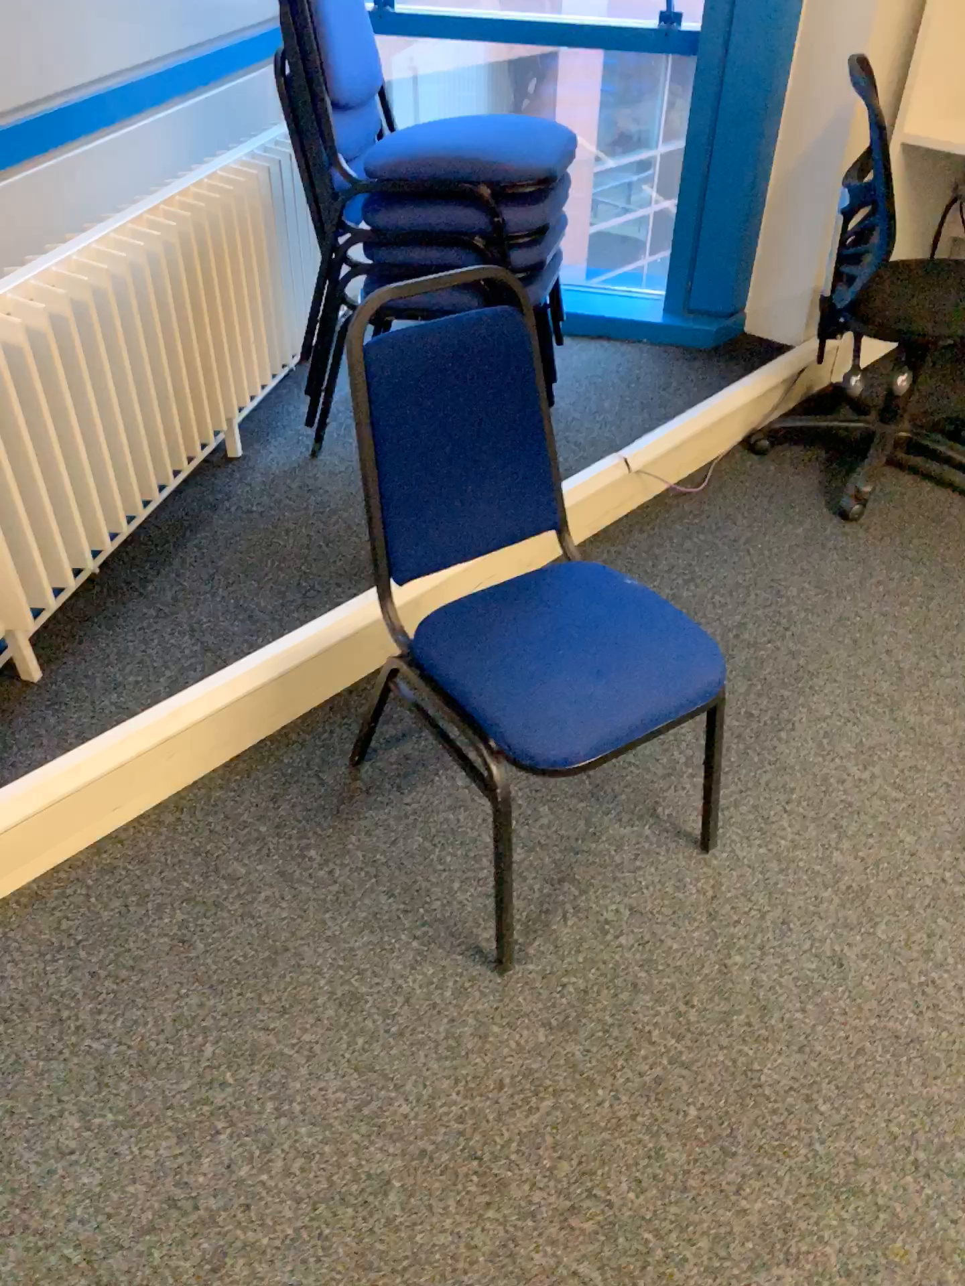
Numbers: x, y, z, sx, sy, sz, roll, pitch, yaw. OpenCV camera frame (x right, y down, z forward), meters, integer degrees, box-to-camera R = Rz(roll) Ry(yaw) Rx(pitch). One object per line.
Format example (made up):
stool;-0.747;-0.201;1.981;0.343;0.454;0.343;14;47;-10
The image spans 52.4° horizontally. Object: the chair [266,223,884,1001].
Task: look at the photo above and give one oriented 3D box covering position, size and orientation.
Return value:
chair;0.077;-0.054;1.420;0.473;0.842;0.578;-22;45;-26
